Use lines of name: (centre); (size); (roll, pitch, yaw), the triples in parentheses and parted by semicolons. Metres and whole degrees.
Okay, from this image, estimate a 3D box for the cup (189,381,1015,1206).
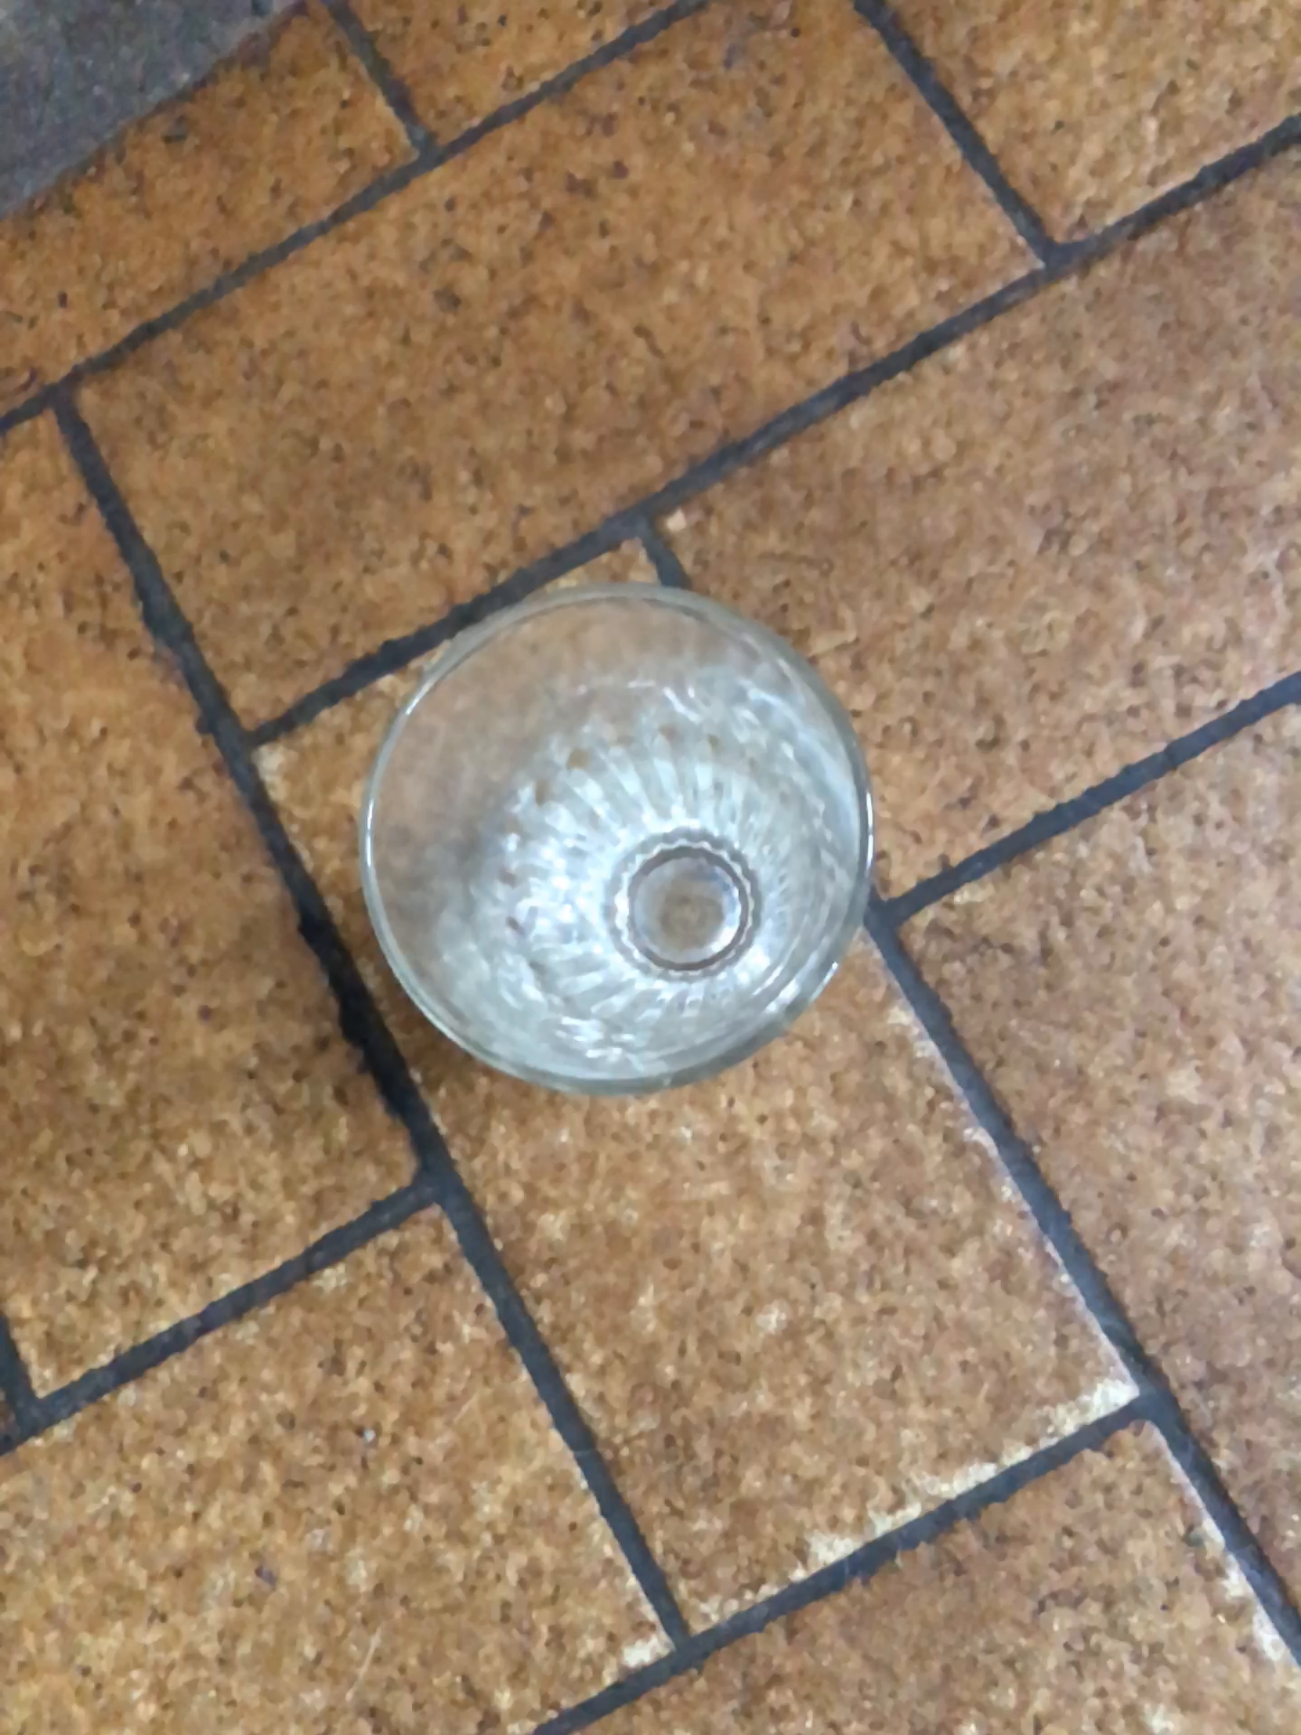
cup: (0.000, -0.003, 0.231); (0.070, 0.120, 0.070); (-1, 82, 7)
